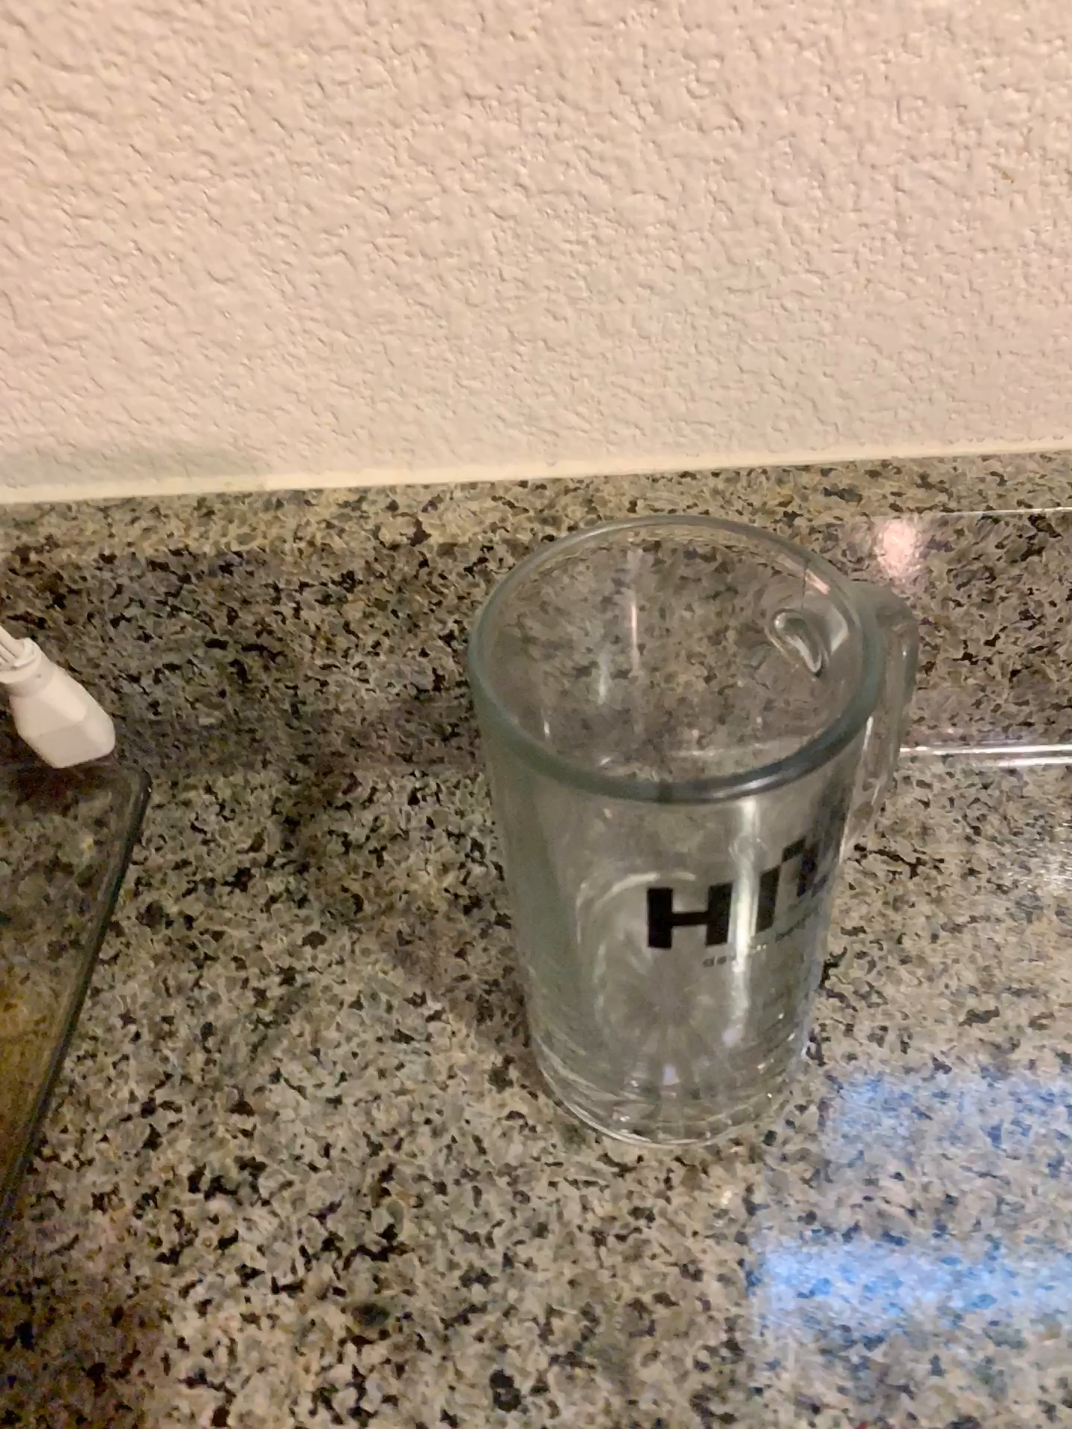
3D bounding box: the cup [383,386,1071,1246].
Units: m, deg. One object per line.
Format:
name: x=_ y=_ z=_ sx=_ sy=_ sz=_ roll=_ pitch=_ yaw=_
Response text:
cup: x=0.048 y=0.029 z=0.270 sx=0.120 sy=0.158 sz=0.081 roll=-33 pitch=52 yaw=-24
